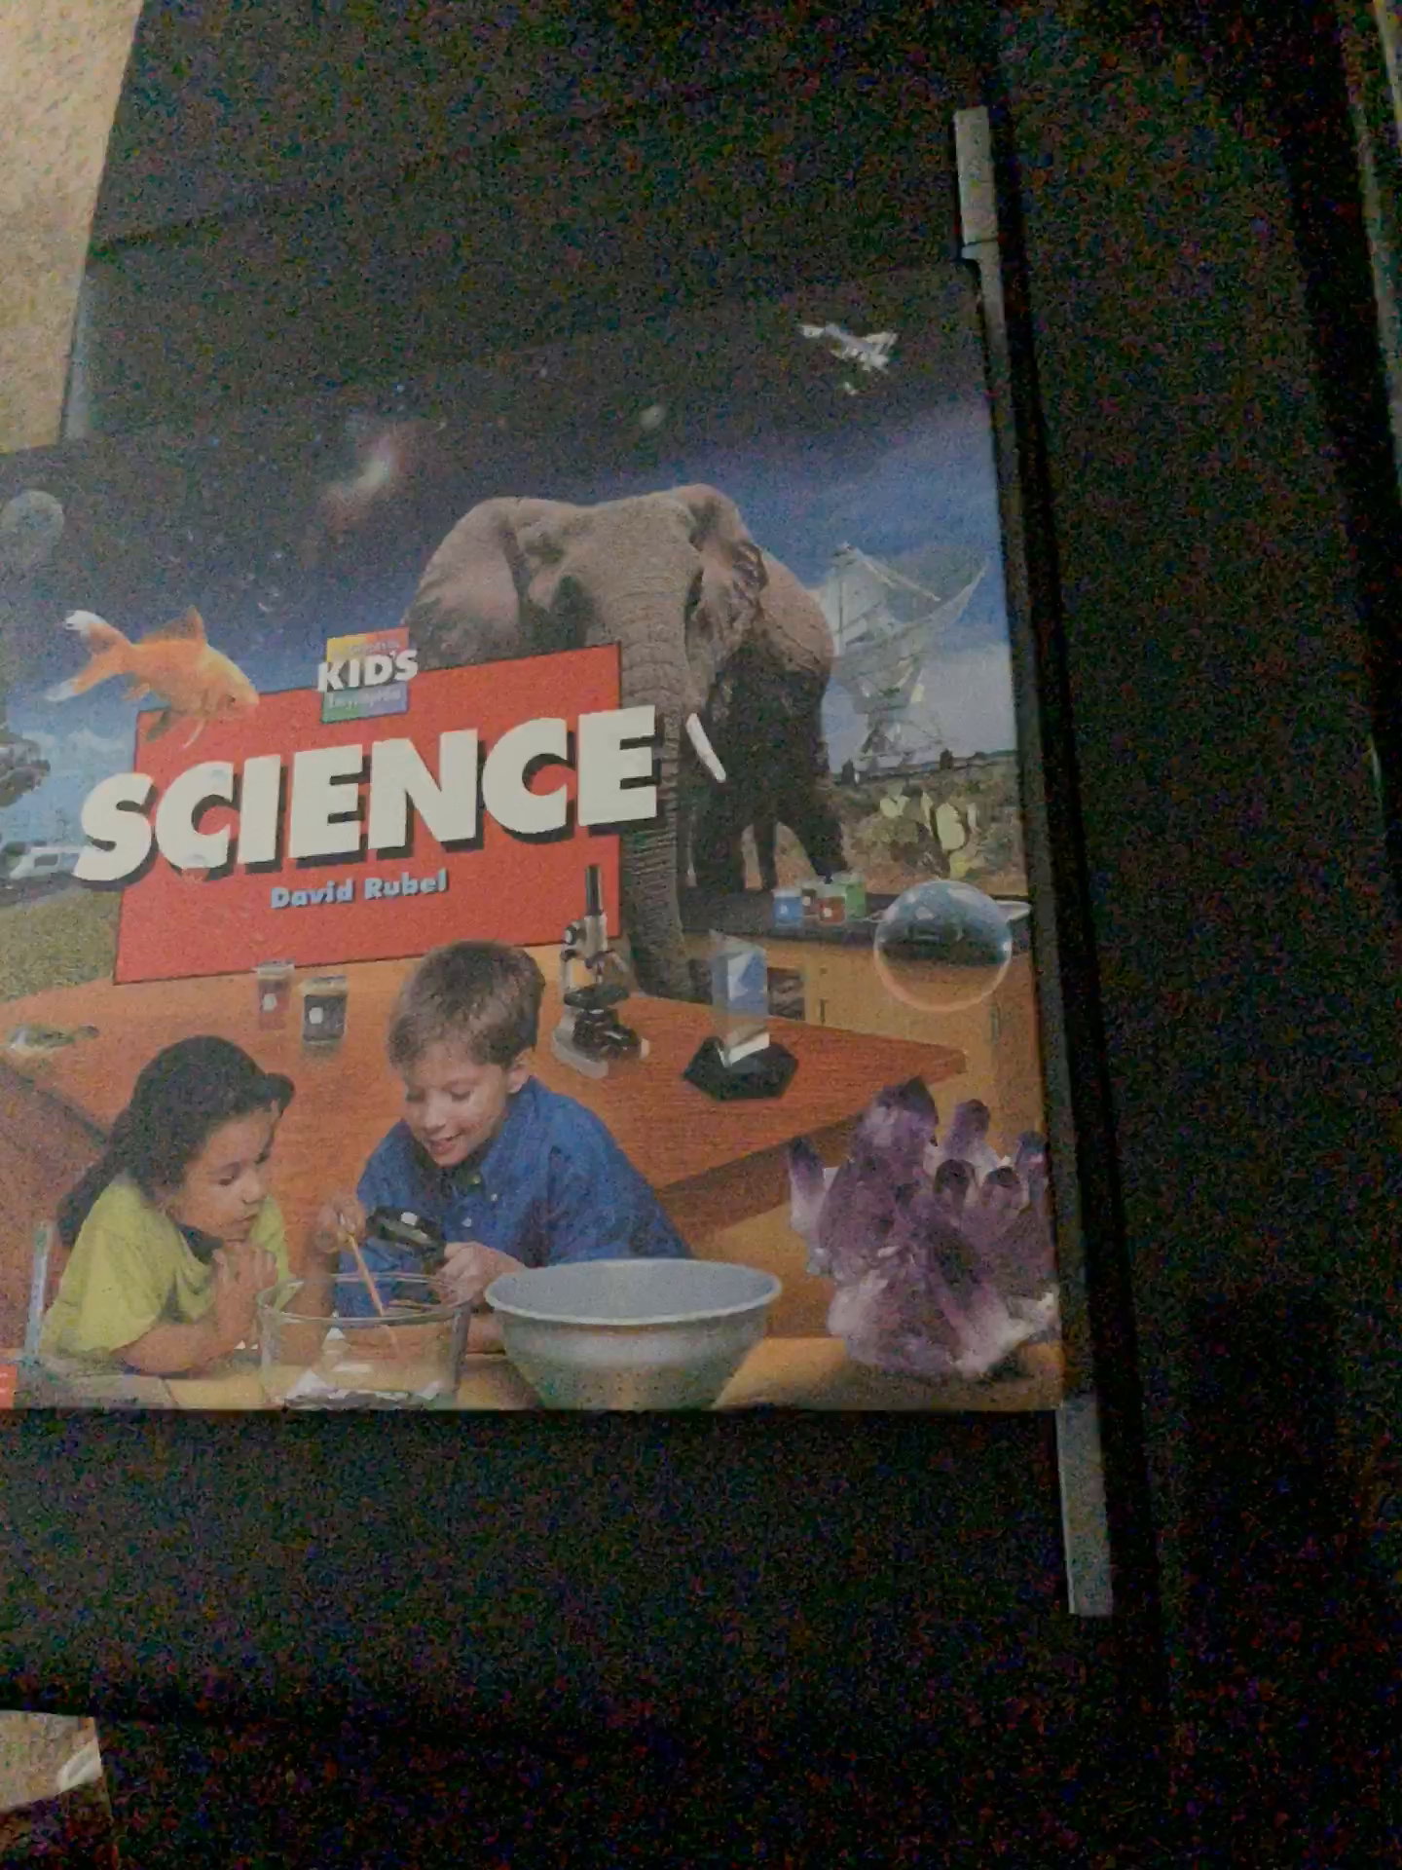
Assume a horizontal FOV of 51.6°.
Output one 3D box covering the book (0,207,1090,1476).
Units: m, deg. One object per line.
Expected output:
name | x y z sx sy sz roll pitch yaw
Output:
book | -0.071 -0.015 0.313 0.280 0.030 0.240 -5 74 16
